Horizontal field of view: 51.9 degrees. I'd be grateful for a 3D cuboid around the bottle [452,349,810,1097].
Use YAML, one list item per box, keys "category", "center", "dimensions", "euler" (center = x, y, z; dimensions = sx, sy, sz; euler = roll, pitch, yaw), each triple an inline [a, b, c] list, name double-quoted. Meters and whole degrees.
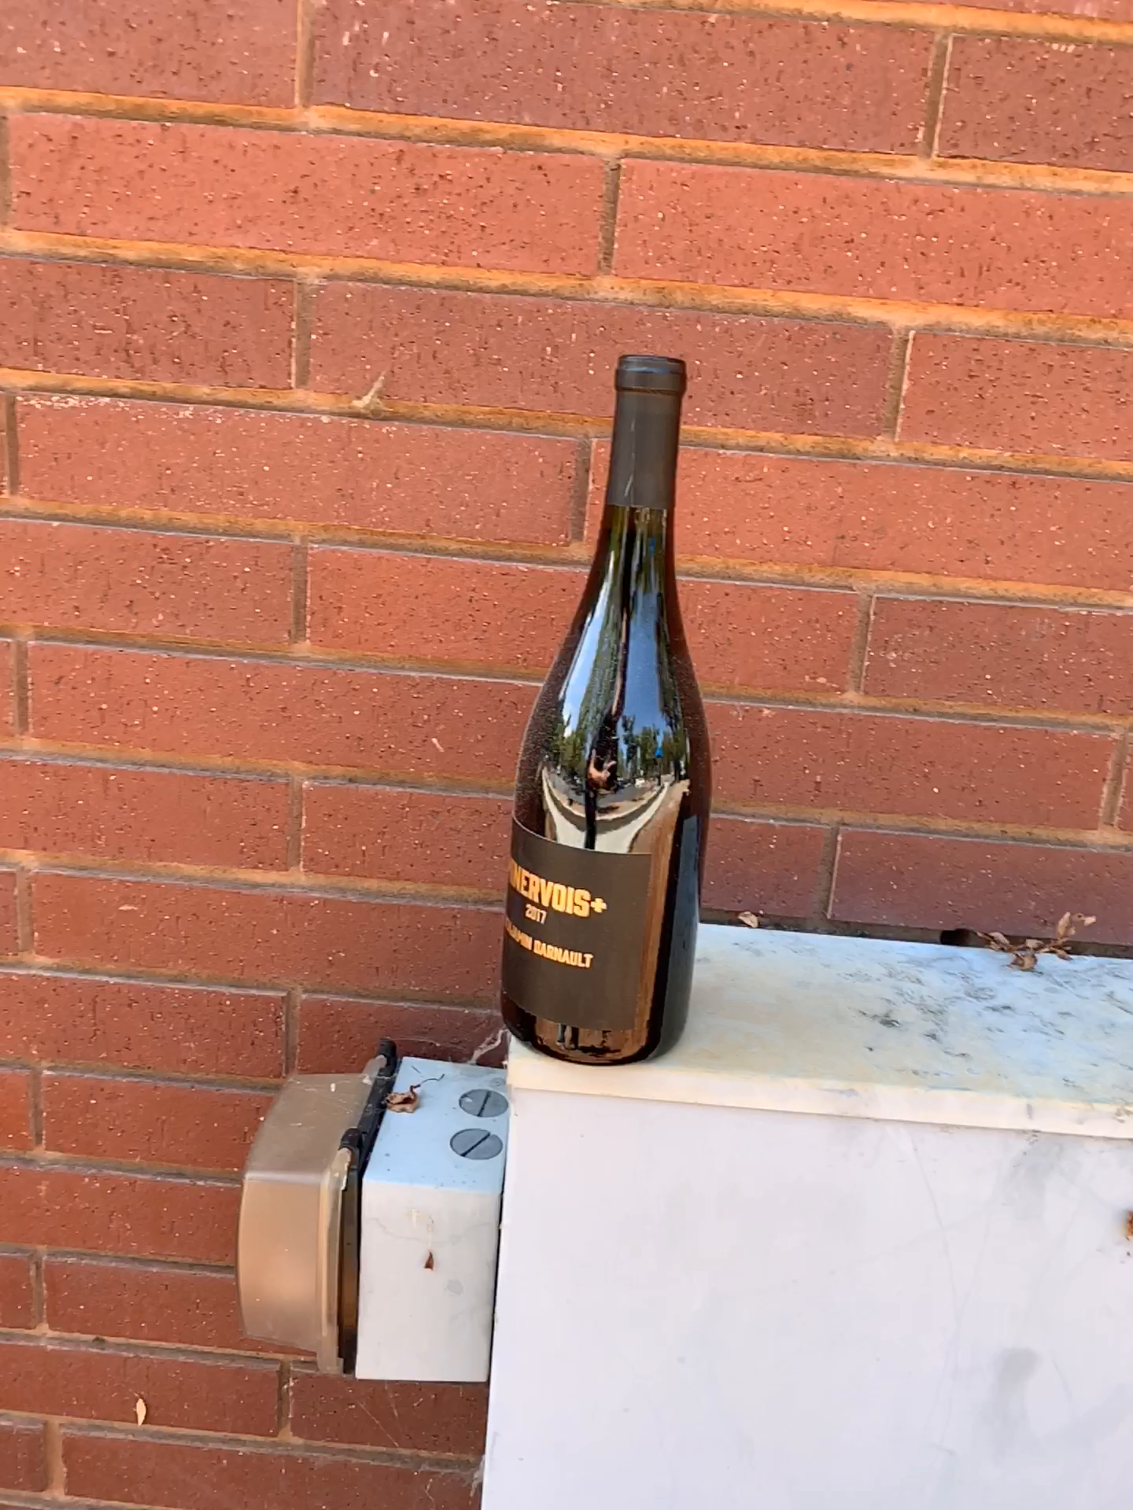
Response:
- category: "bottle"
  center: [0.023, -0.017, 0.500]
  dimensions: [0.090, 0.289, 0.090]
  euler: [5, 15, -1]
